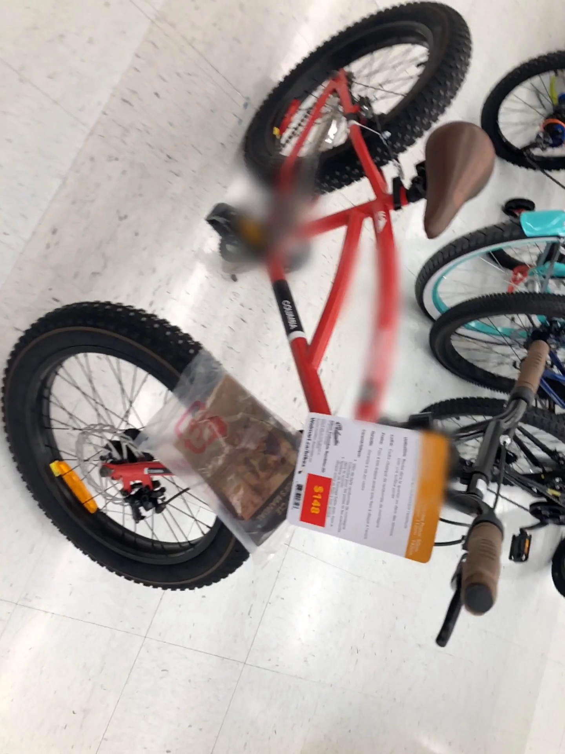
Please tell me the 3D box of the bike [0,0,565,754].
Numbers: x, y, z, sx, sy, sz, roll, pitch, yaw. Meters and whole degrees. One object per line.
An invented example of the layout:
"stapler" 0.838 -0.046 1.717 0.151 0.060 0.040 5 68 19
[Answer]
"bike" 0.104 -0.230 1.156 0.610 0.968 1.358 33 74 -35
